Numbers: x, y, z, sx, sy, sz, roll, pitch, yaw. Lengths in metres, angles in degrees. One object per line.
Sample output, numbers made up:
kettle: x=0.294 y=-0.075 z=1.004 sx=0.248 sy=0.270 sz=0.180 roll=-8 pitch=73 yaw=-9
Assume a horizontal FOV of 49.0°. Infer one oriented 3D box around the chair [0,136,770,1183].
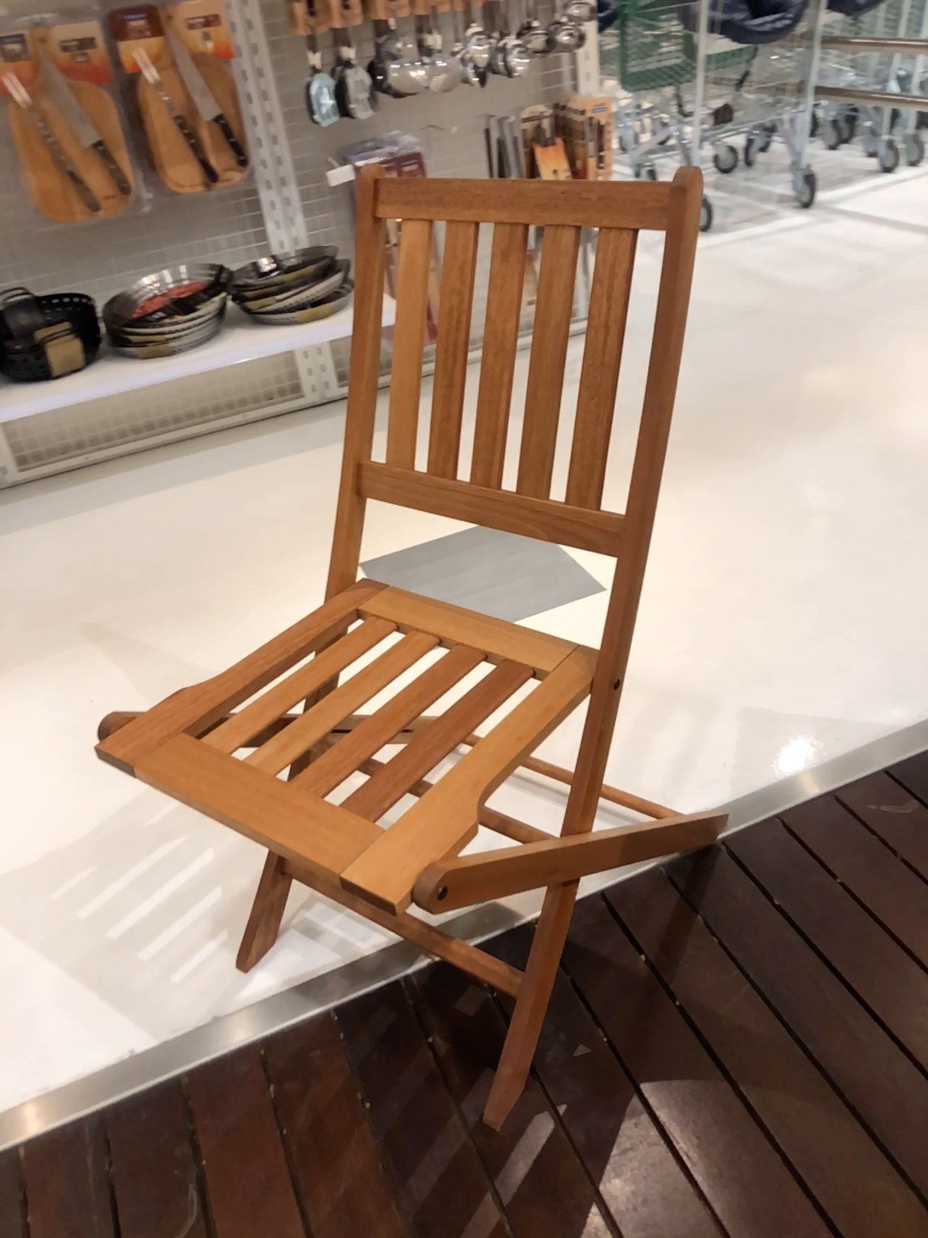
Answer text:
chair: x=-0.032 y=0.001 z=1.132 sx=0.501 sy=0.863 sz=0.603 roll=16 pitch=40 yaw=33
